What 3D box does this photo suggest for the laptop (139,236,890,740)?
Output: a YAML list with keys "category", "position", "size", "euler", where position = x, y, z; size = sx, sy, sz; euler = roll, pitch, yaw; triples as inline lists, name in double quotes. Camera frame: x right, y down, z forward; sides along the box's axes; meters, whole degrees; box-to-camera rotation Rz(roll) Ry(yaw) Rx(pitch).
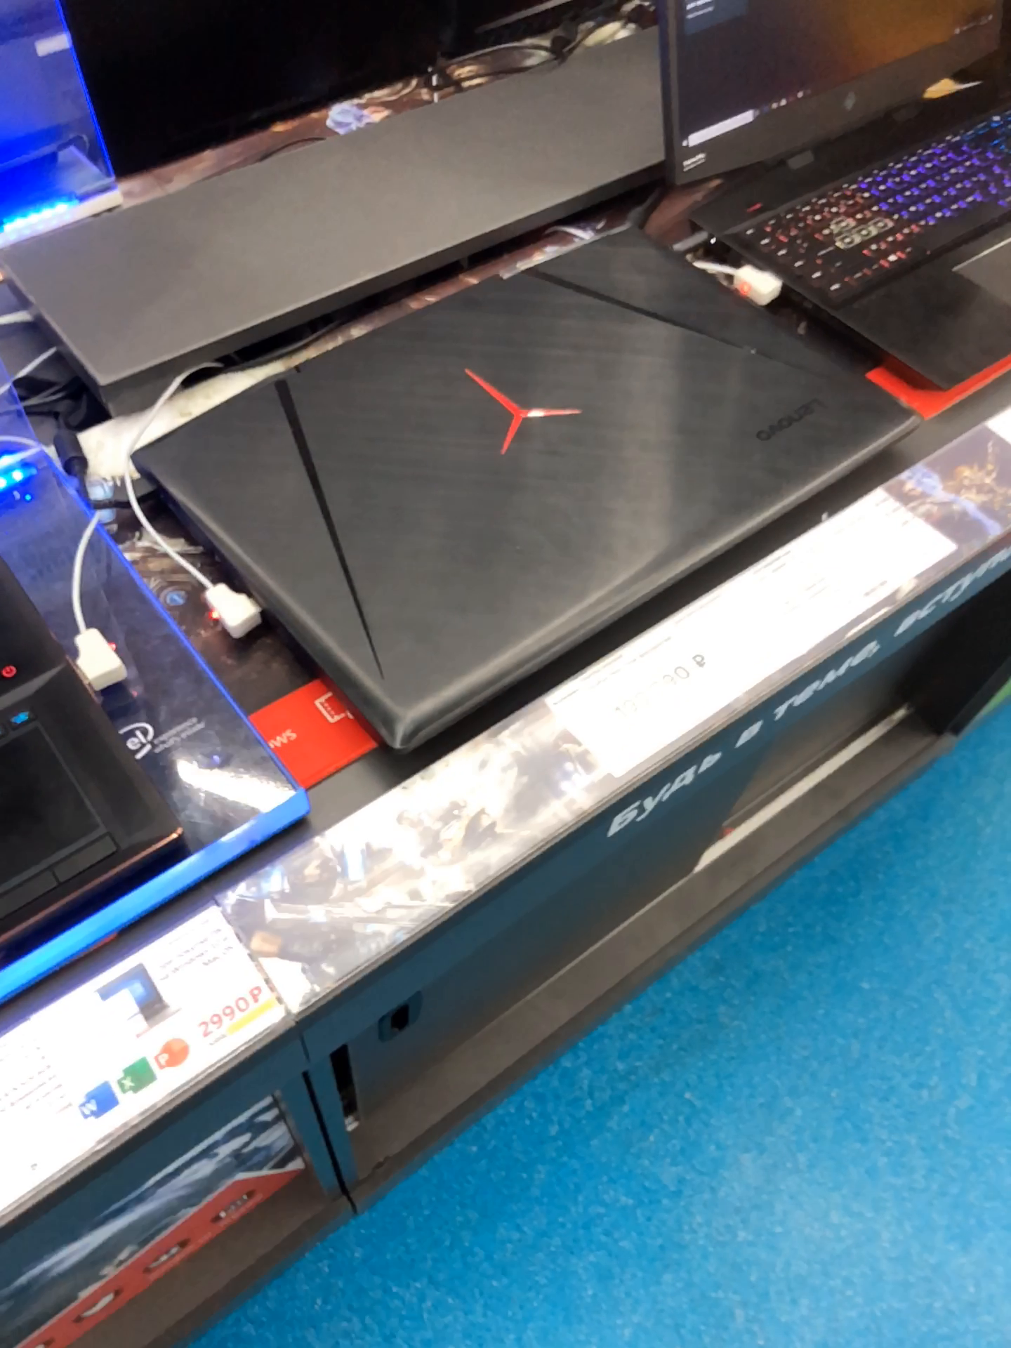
- category: "laptop"
  position: [0.011, -0.151, 0.713]
  size: [0.400, 0.005, 0.270]
  euler: [-33, 59, -23]
